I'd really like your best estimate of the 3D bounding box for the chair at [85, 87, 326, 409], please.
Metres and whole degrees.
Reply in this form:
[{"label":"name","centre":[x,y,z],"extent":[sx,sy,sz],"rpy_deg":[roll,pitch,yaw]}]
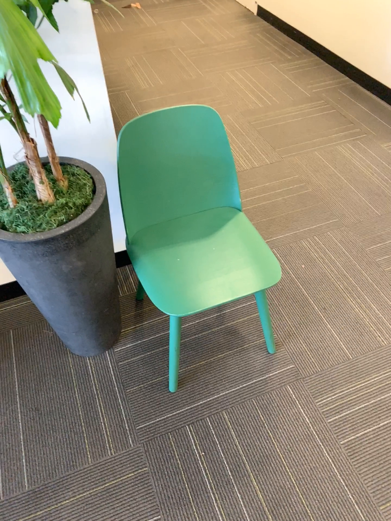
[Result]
[{"label":"chair","centre":[-0.023,-0.052,1.257],"extent":[0.390,0.627,0.714],"rpy_deg":[-16,50,-12]}]
